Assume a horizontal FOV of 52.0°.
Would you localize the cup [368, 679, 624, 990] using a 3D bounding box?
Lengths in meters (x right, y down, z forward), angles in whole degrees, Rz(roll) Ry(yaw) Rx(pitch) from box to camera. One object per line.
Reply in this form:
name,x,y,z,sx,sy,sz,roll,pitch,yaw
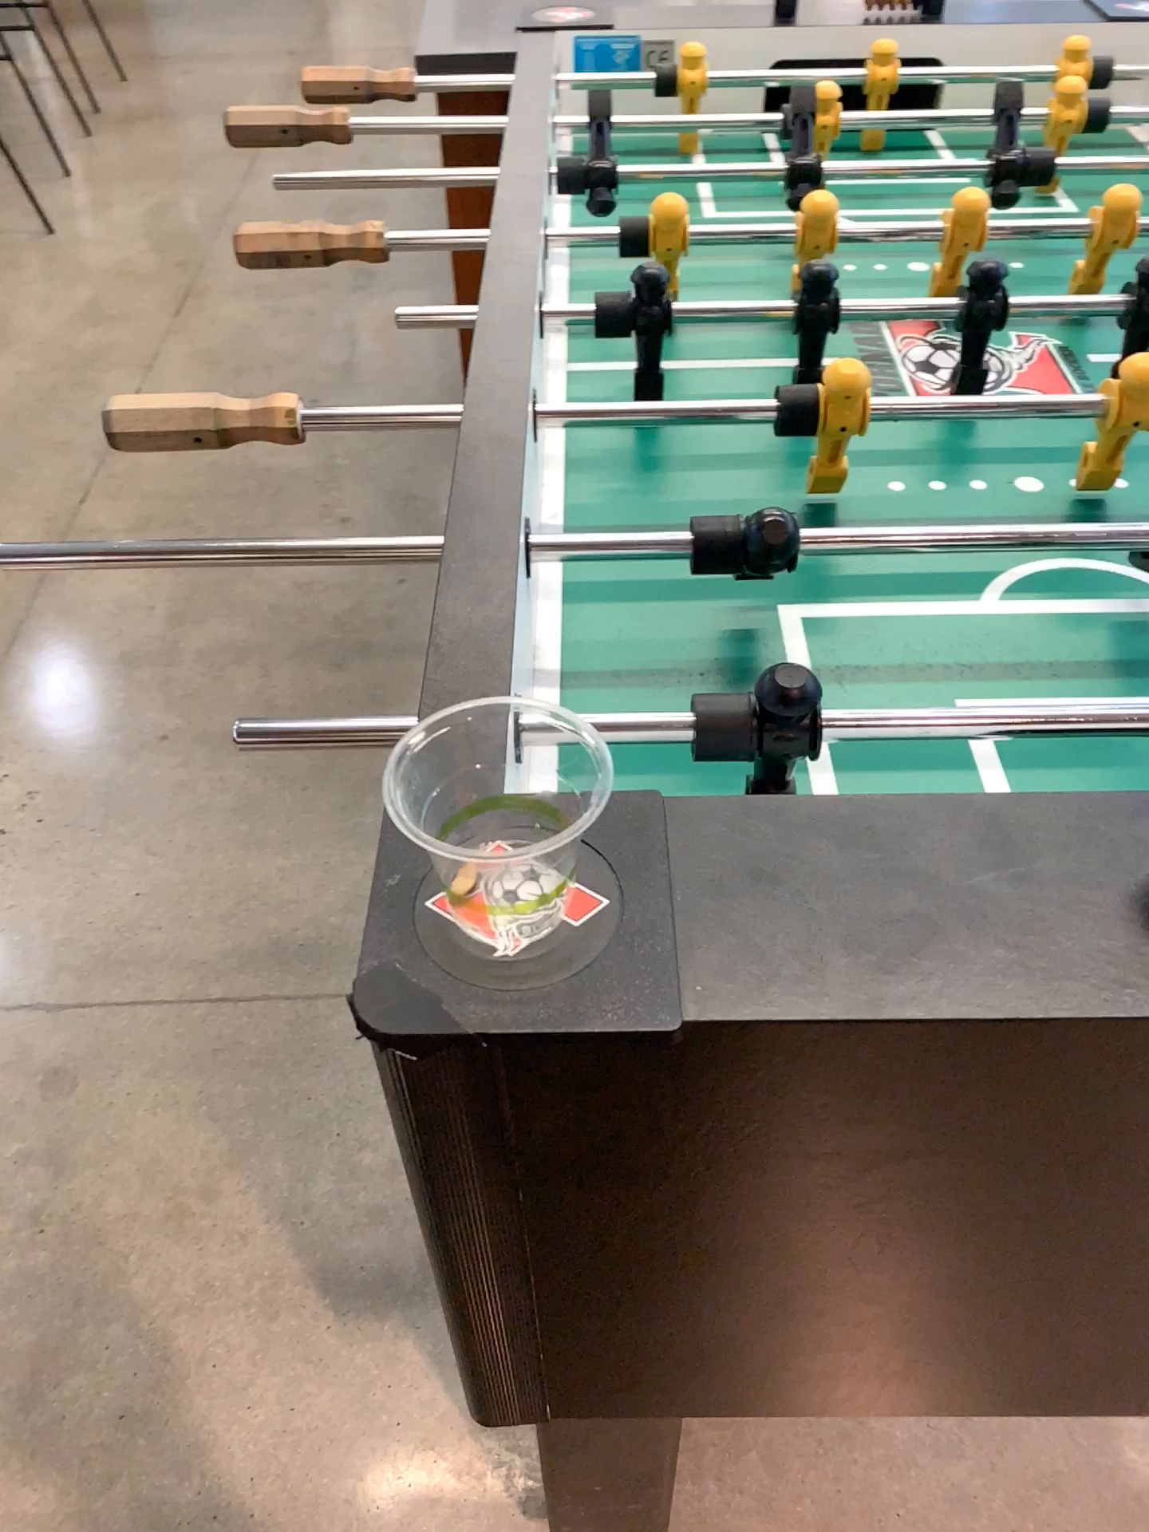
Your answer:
cup,-0.026,0.021,0.386,0.070,0.060,0.070,-1,44,1
